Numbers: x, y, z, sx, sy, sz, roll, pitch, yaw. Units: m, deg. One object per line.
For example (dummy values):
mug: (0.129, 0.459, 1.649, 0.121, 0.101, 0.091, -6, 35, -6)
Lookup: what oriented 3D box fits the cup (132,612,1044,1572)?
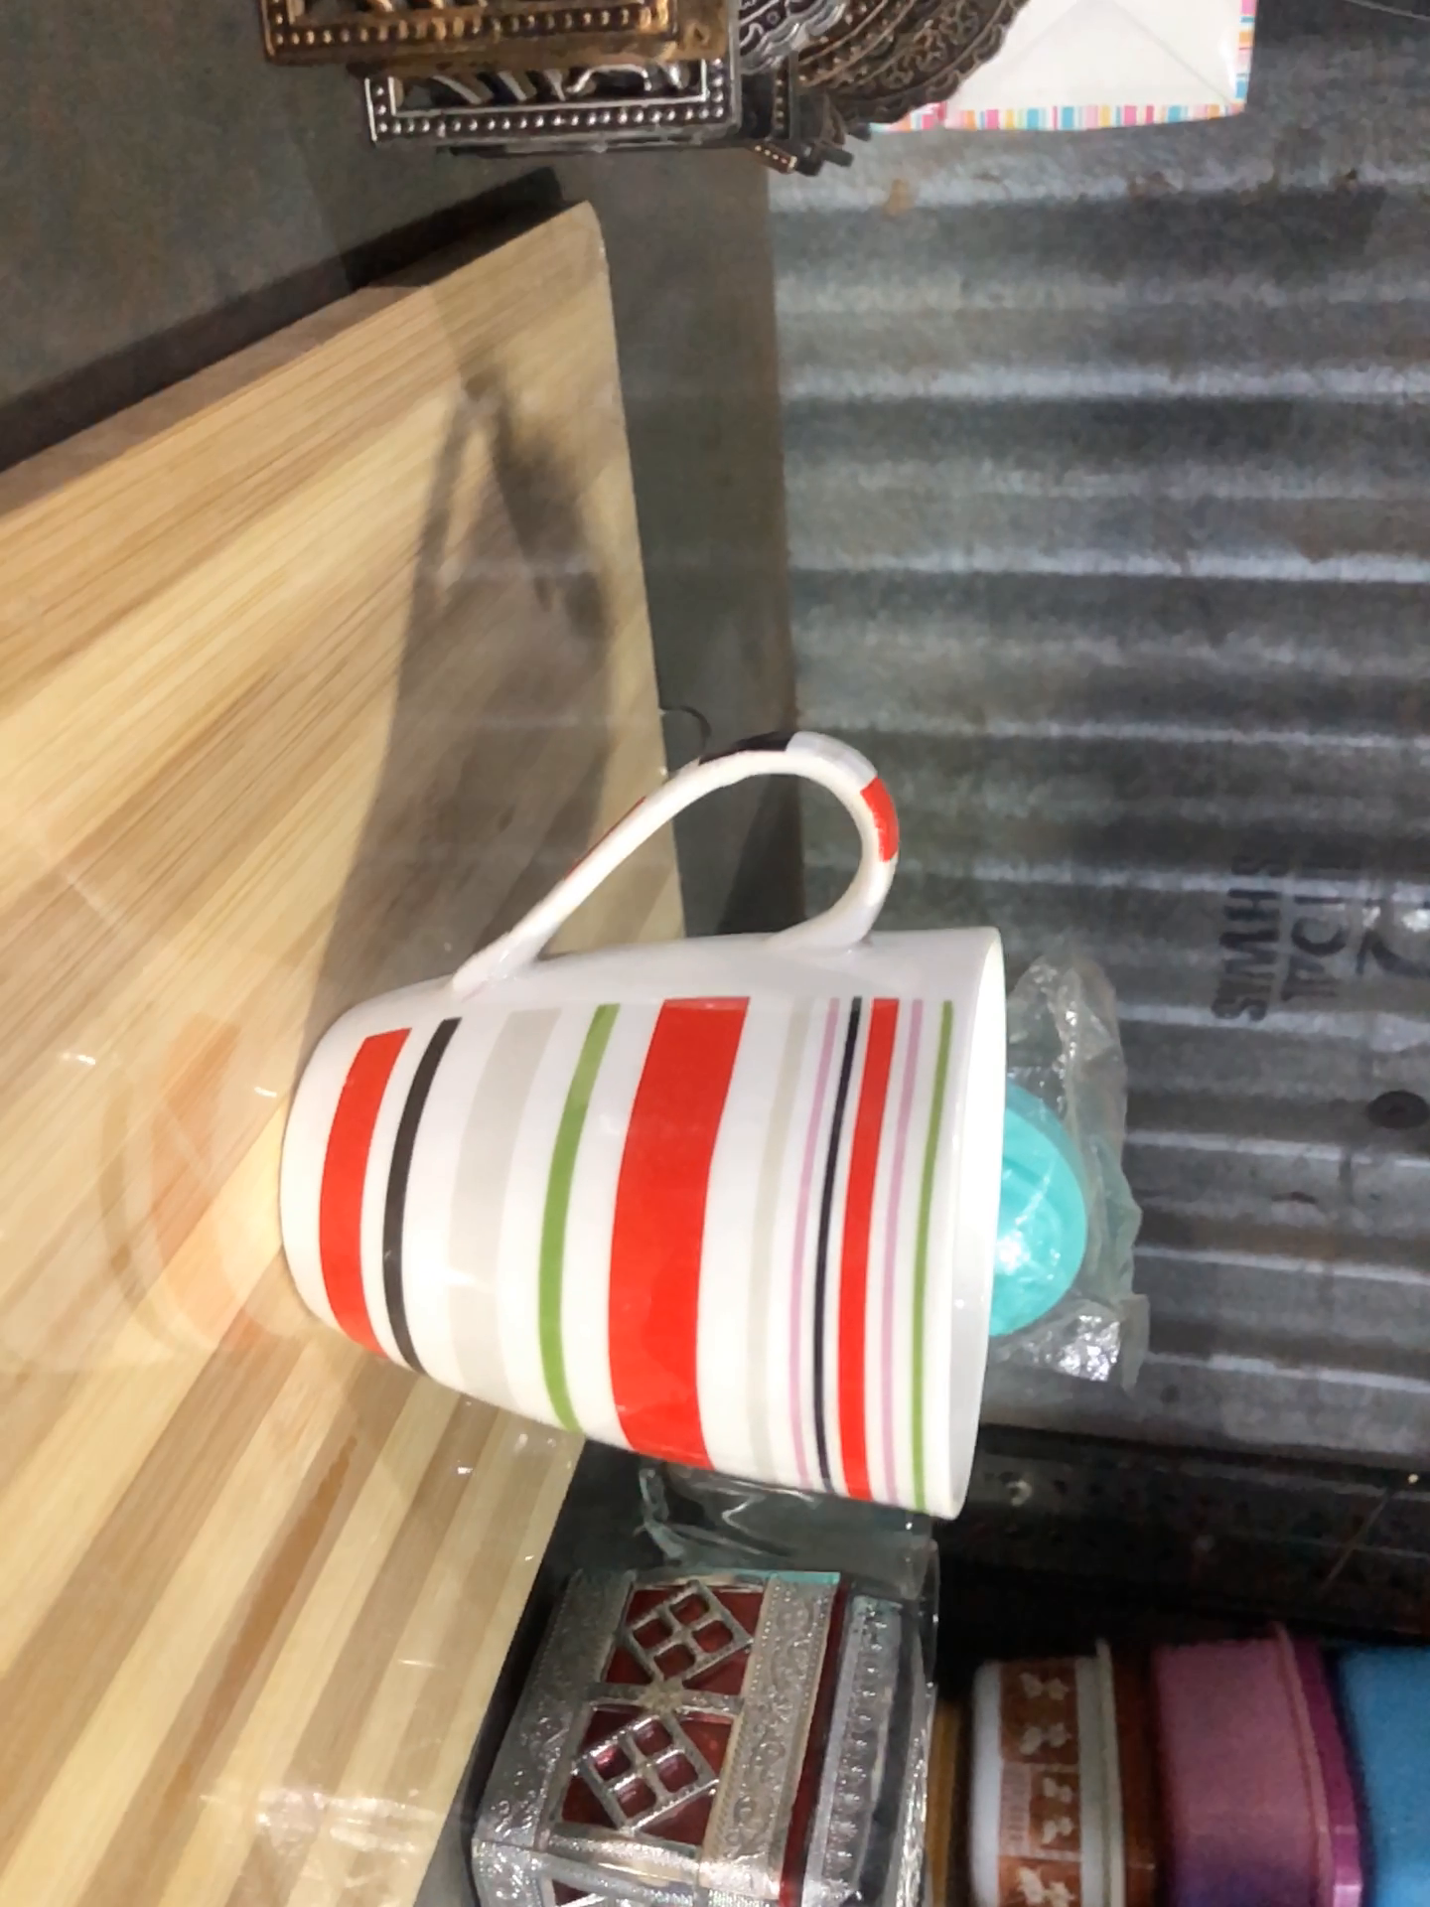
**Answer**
cup: (-0.006, 0.018, 0.237, 0.080, 0.100, 0.110, -71, 160, -52)
